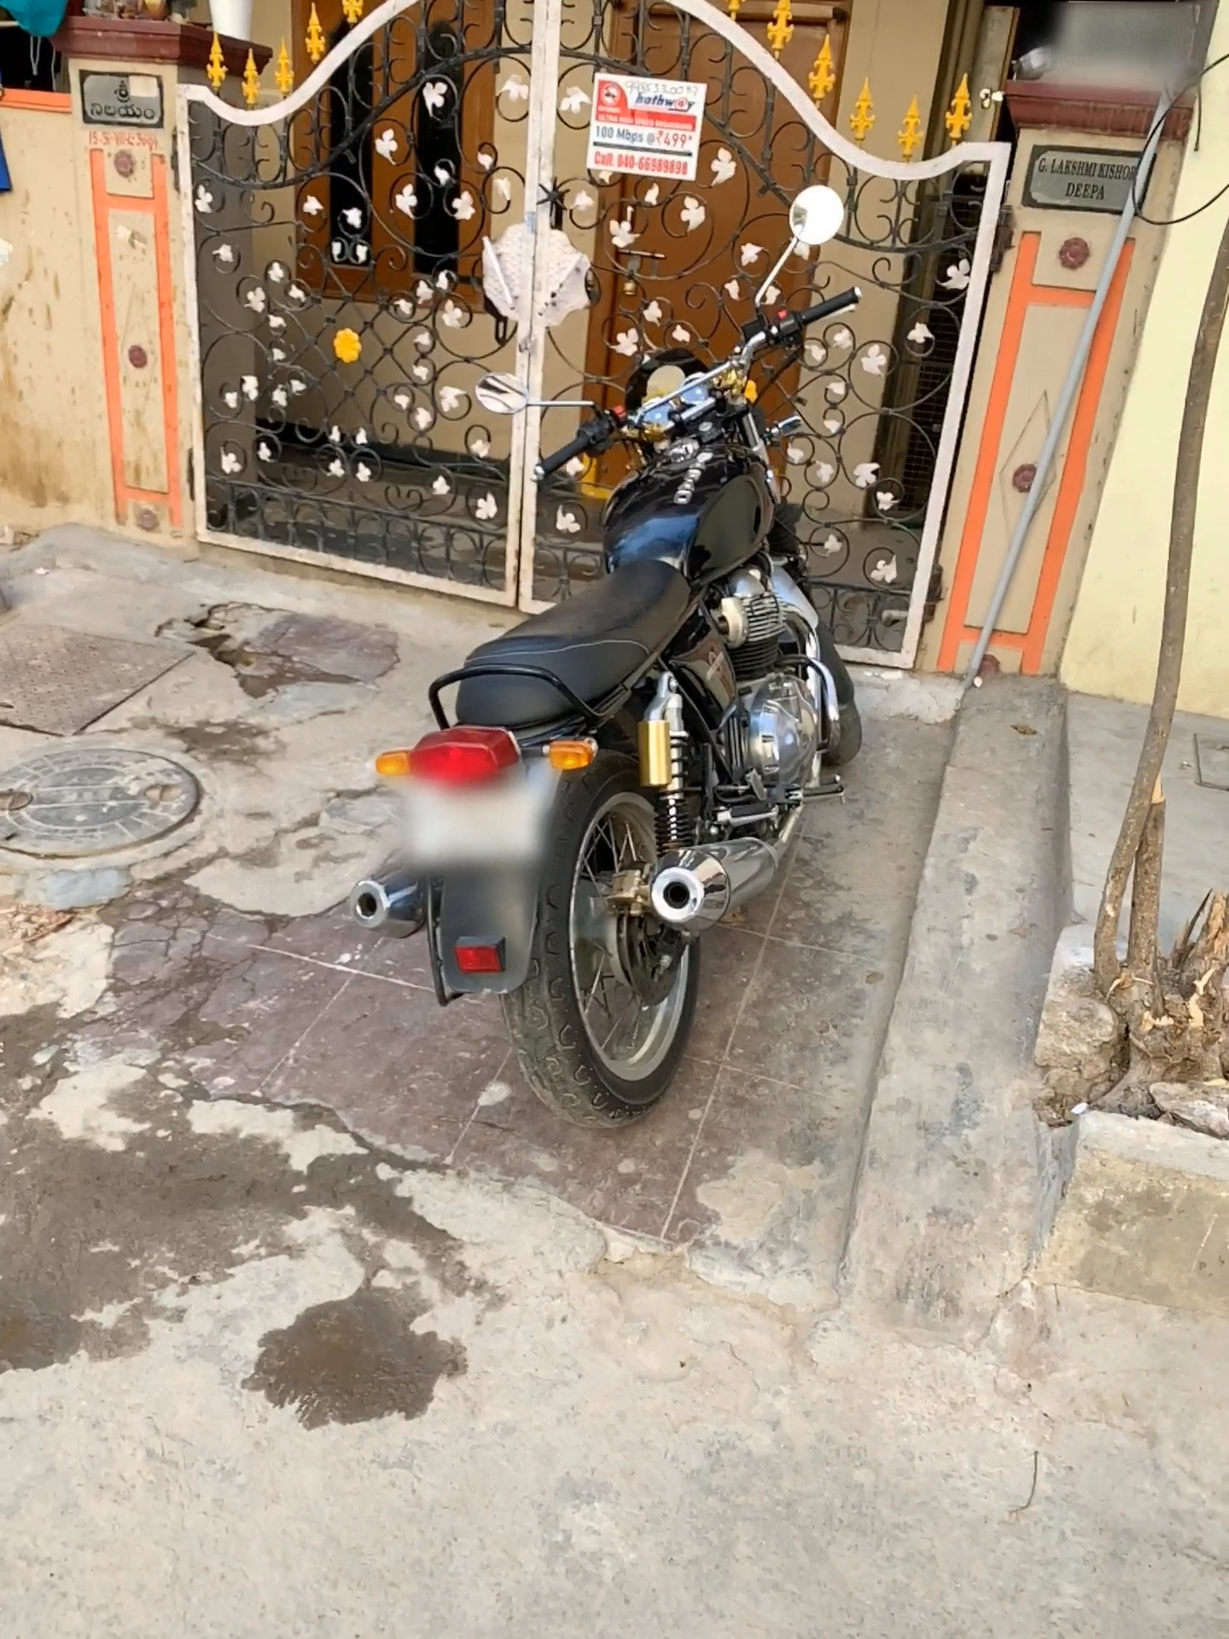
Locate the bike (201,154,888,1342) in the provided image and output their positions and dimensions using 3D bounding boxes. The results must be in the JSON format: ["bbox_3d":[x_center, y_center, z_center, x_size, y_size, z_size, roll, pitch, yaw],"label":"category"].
[{"bbox_3d":[0.003,-0.418,2.582,0.791,1.522,1.913,9,29,9],"label":"bike"}]
